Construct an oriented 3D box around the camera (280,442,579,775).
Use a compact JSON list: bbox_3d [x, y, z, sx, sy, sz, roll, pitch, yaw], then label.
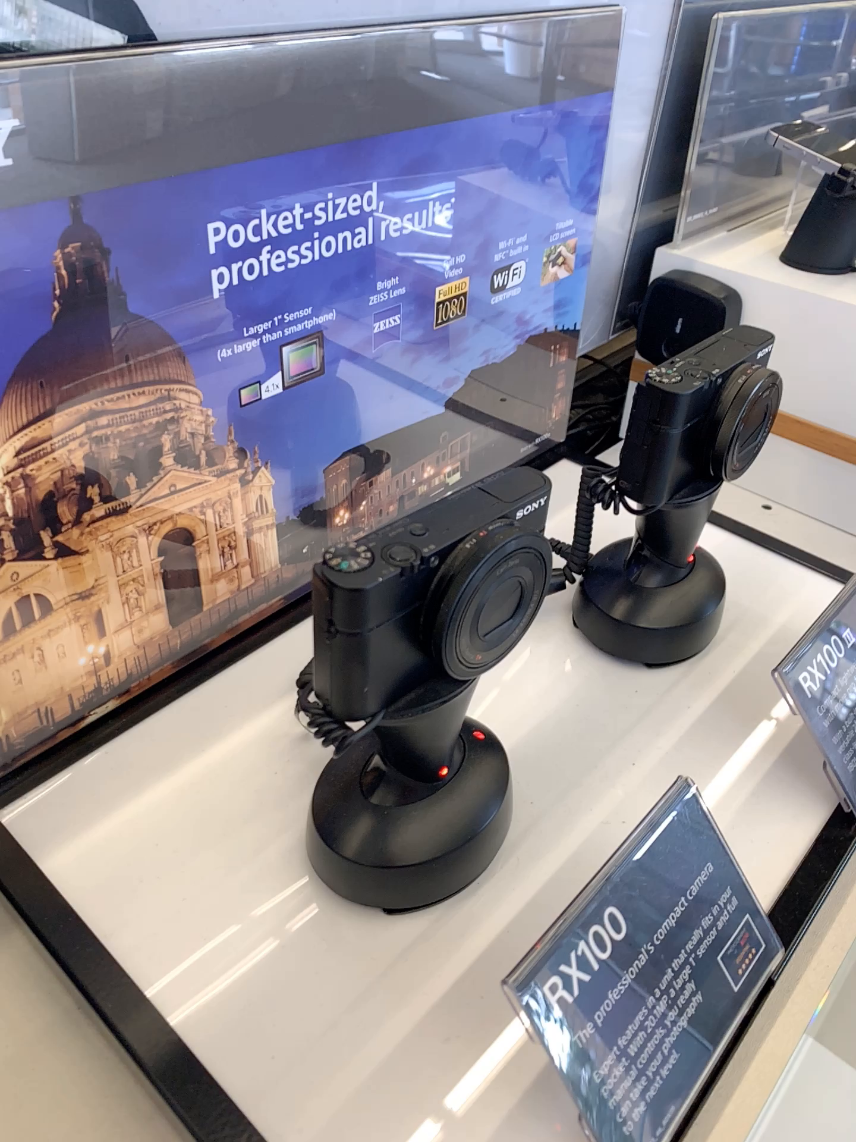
[{"bbox_3d":[0.002,0.009,0.308,0.040,0.069,0.101,31,46,32],"label":"camera"}]
